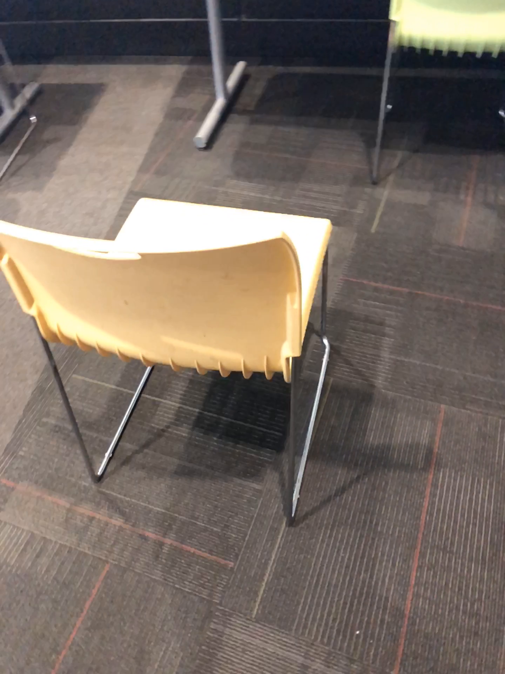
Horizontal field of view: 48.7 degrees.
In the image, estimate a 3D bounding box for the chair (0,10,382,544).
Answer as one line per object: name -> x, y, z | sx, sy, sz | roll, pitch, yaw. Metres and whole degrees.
chair -> -0.123, -0.094, 1.044 | 0.571, 0.737, 0.562 | 10, 51, 14
